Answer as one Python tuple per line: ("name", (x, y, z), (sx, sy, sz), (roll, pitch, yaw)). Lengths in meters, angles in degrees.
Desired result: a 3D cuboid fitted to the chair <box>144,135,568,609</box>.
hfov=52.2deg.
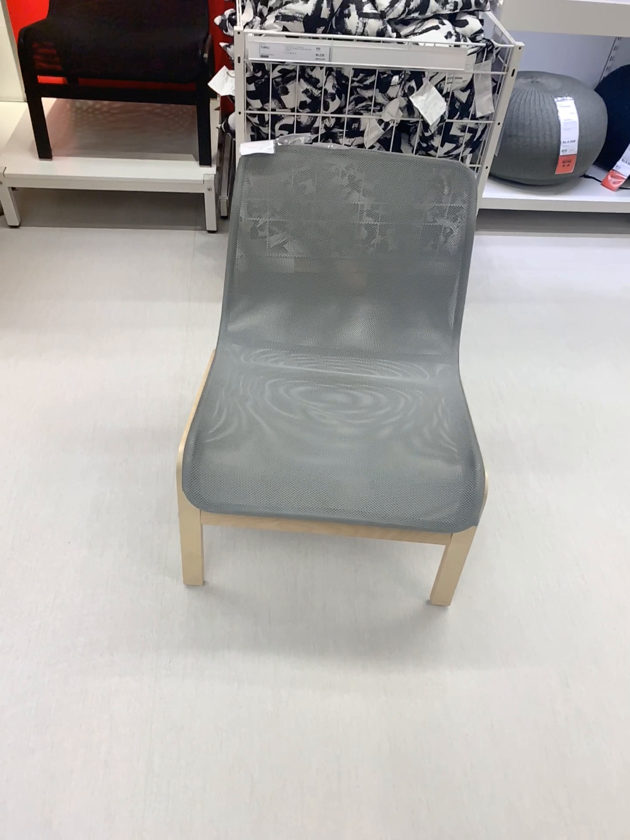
("chair", (0.058, -0.108, 1.462), (0.630, 0.697, 0.753), (5, 47, -1))
